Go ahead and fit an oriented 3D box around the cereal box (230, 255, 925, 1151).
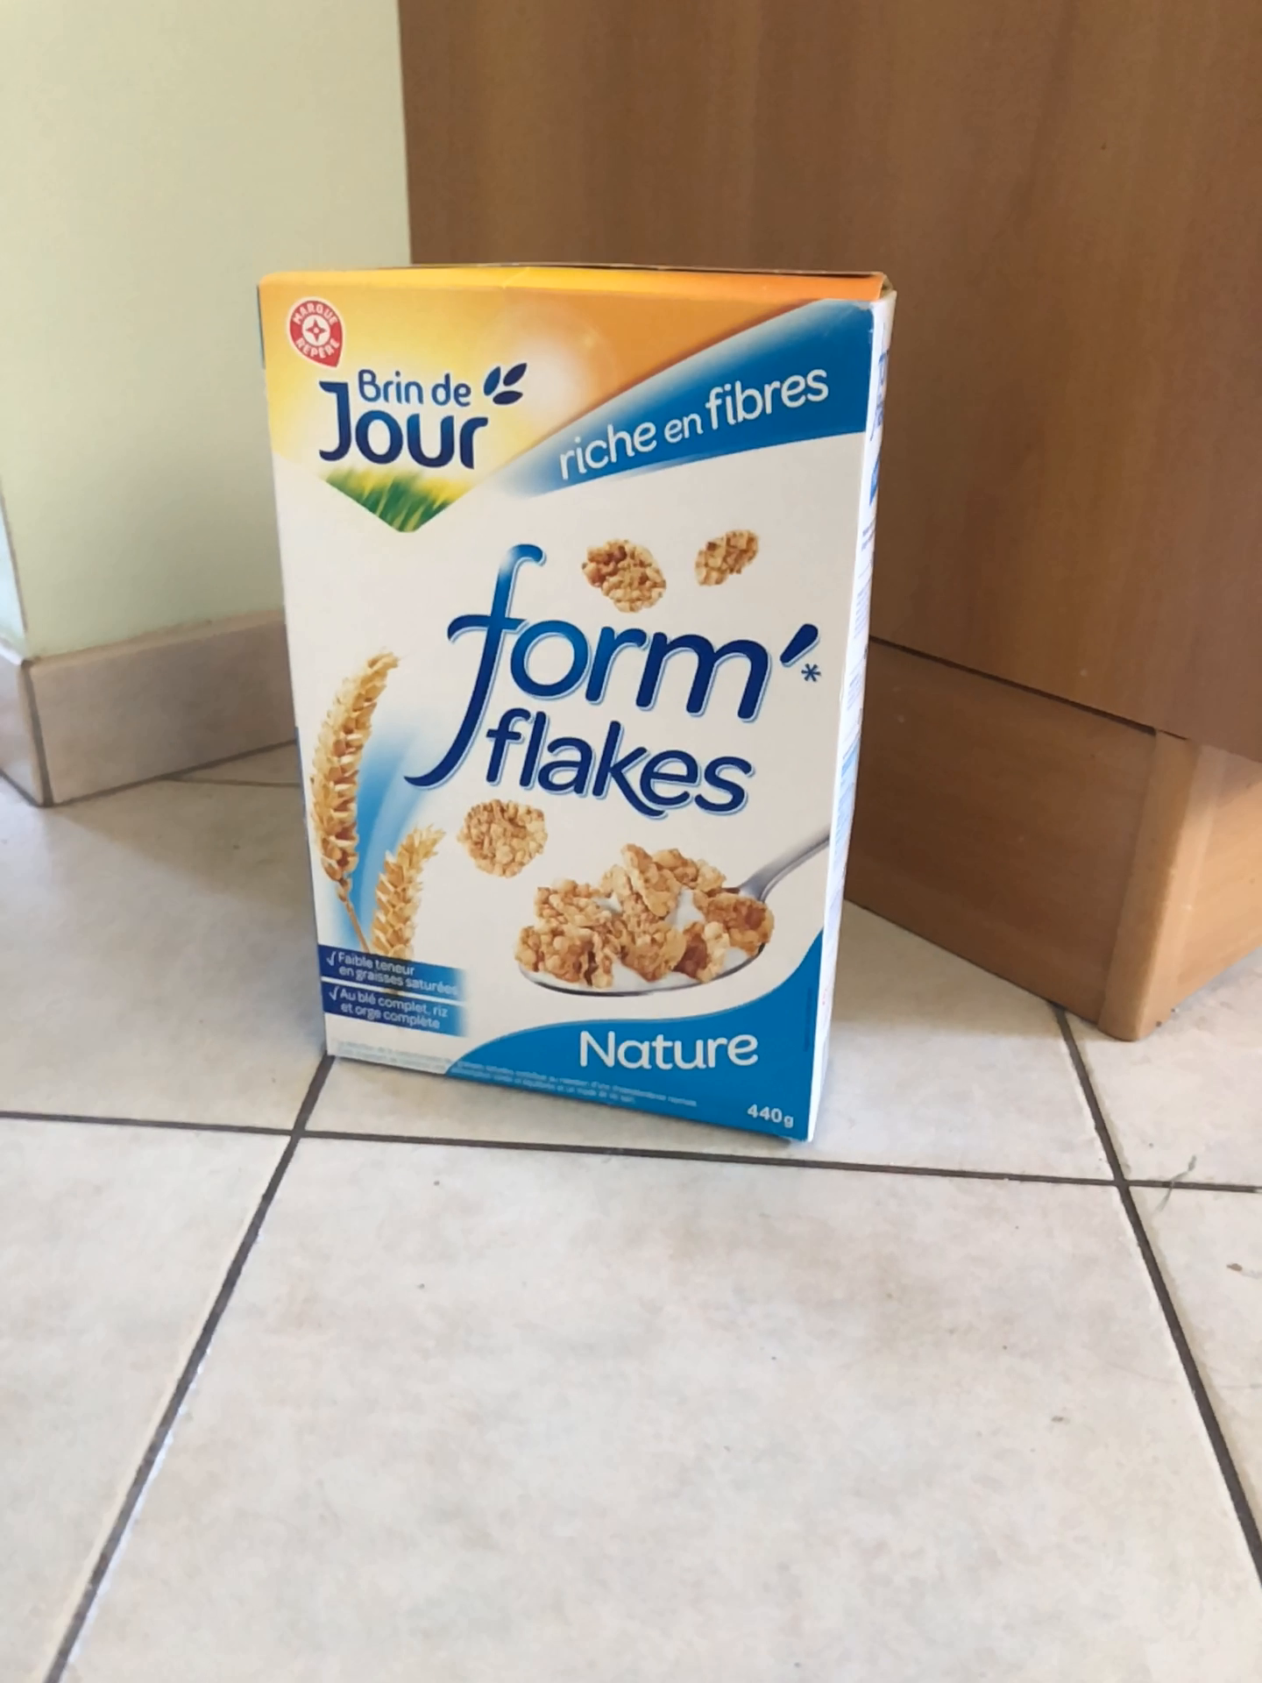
[{"bbox_3d":[-0.019,-0.047,0.480,0.200,0.279,0.070,8,25,12],"label":"cereal box"}]
